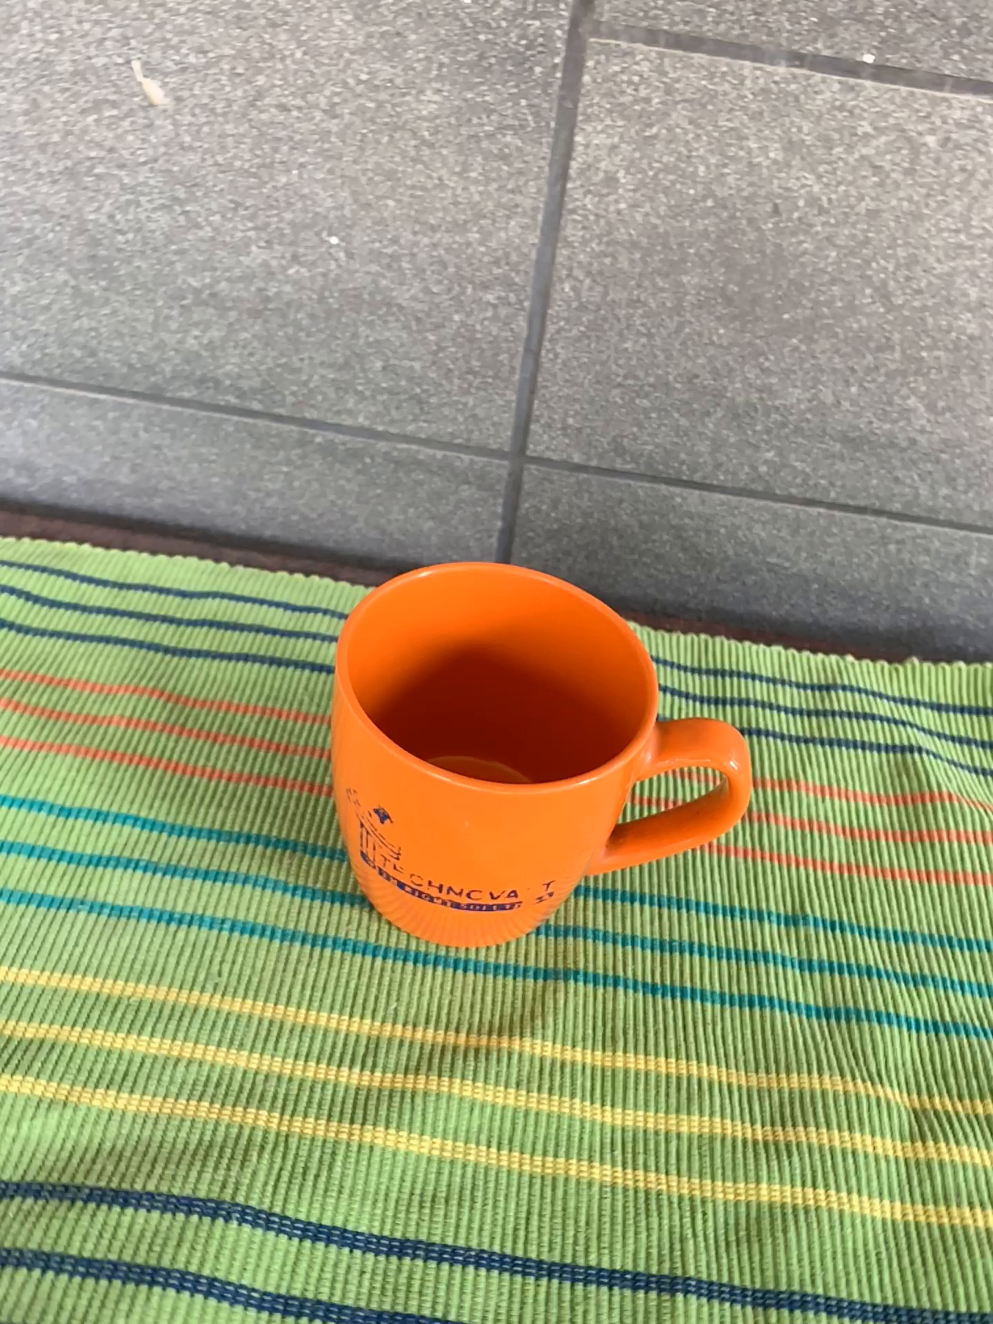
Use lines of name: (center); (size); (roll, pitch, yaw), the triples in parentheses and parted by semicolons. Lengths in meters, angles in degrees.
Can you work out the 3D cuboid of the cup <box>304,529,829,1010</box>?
cup: (0.015, 0.029, 0.293); (0.120, 0.080, 0.090); (8, 42, -1)
